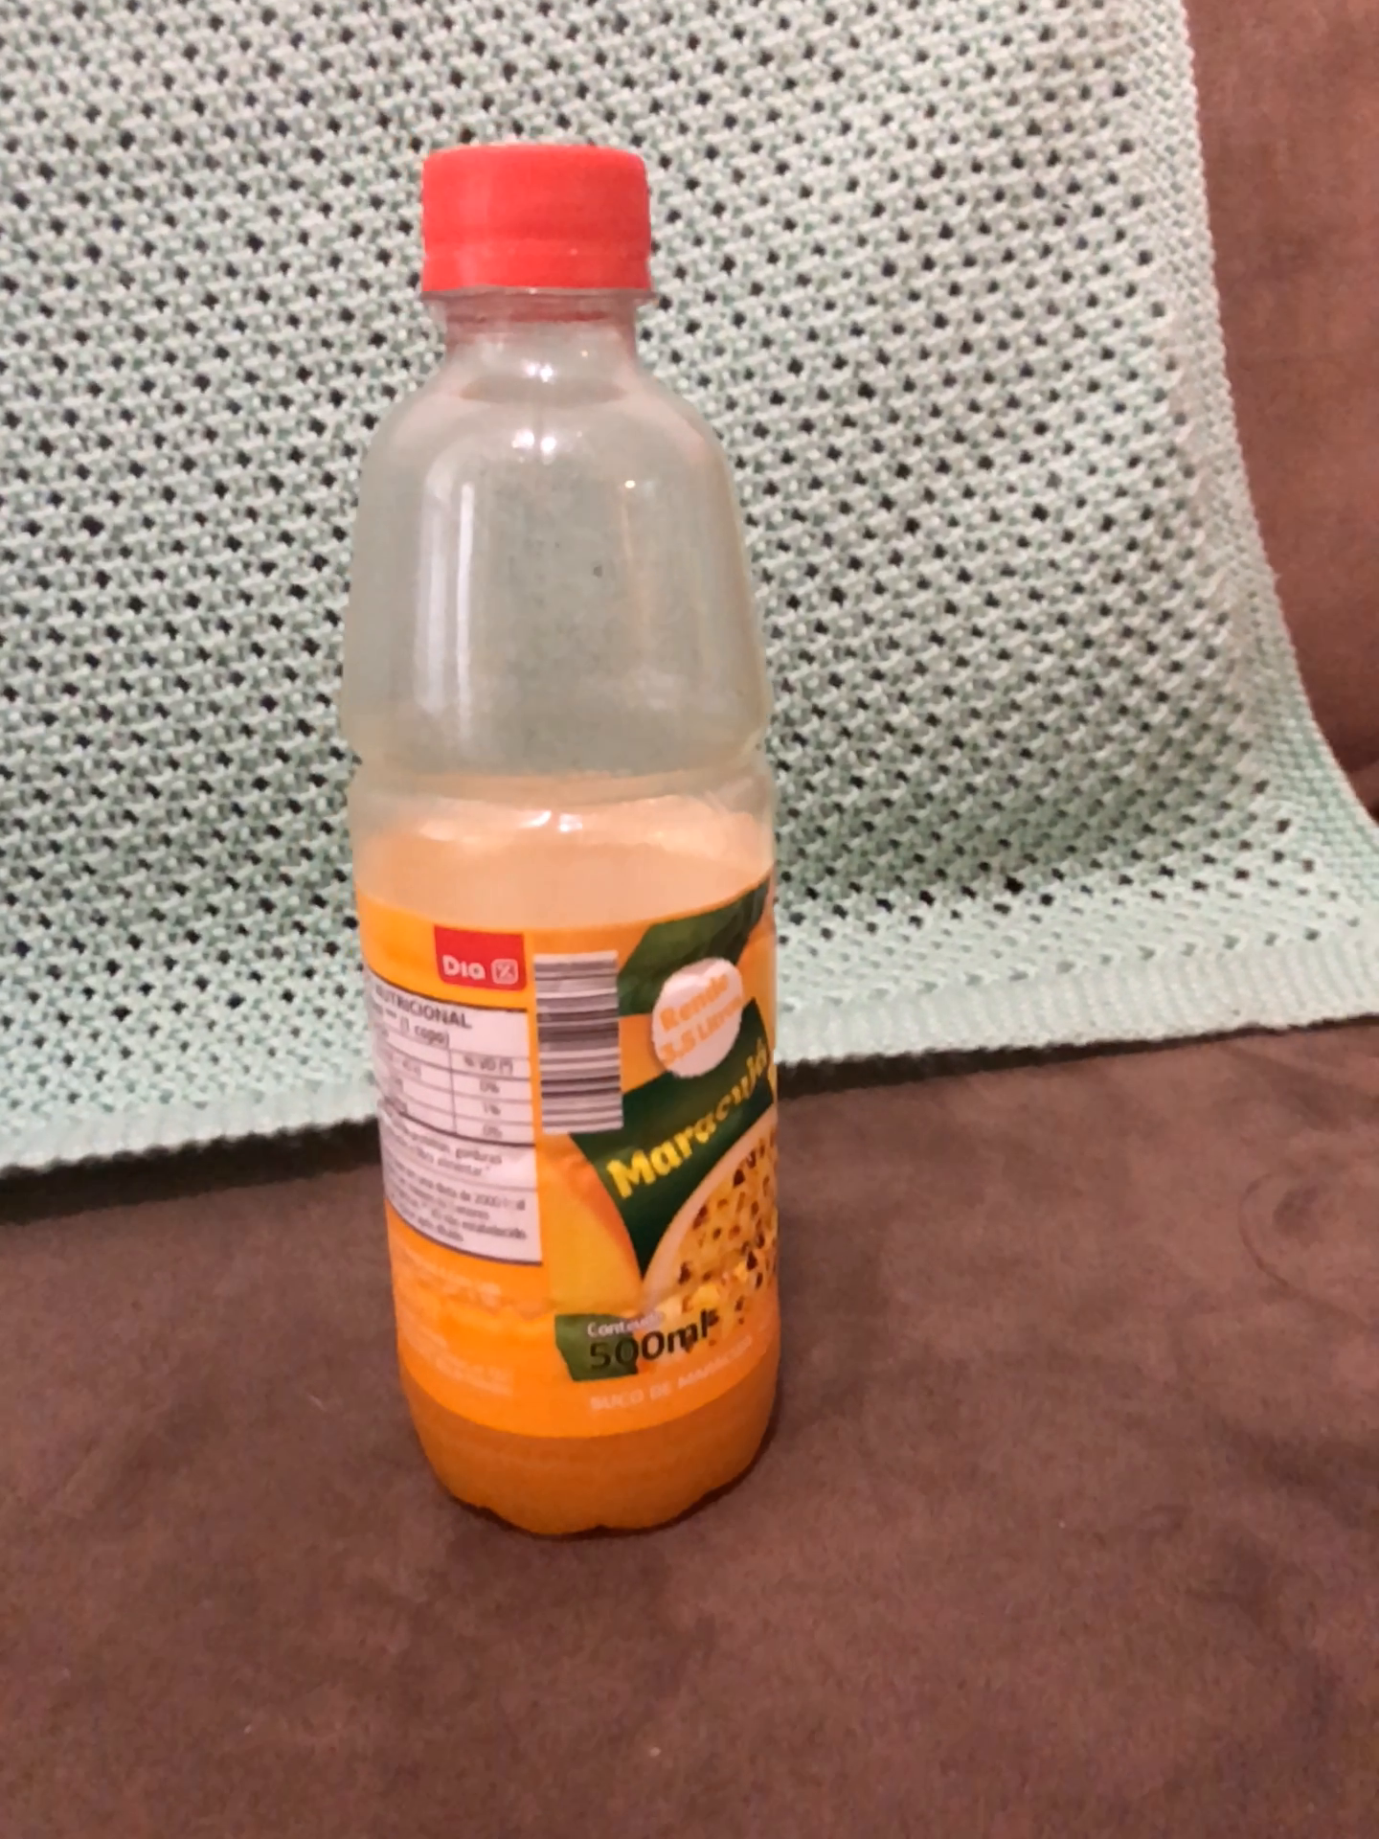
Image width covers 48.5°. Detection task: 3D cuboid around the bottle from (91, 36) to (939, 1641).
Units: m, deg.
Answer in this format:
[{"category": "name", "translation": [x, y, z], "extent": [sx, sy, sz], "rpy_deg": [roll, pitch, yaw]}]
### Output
[{"category": "bottle", "translation": [-0.019, -0.012, 0.235], "extent": [0.080, 0.199, 0.080], "rpy_deg": [-2, 20, 1]}]
